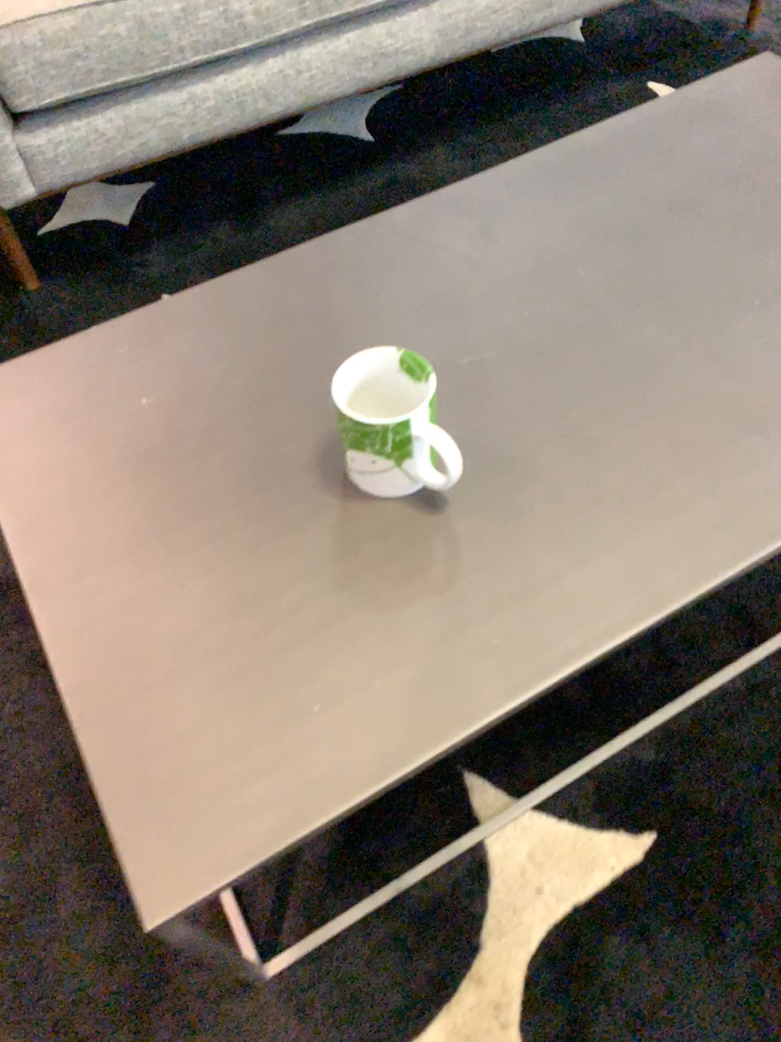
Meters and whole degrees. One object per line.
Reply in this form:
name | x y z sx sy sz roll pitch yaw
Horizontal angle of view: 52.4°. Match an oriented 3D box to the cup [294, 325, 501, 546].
cup | 0.007 -0.069 0.633 0.120 0.090 0.100 37 65 26
